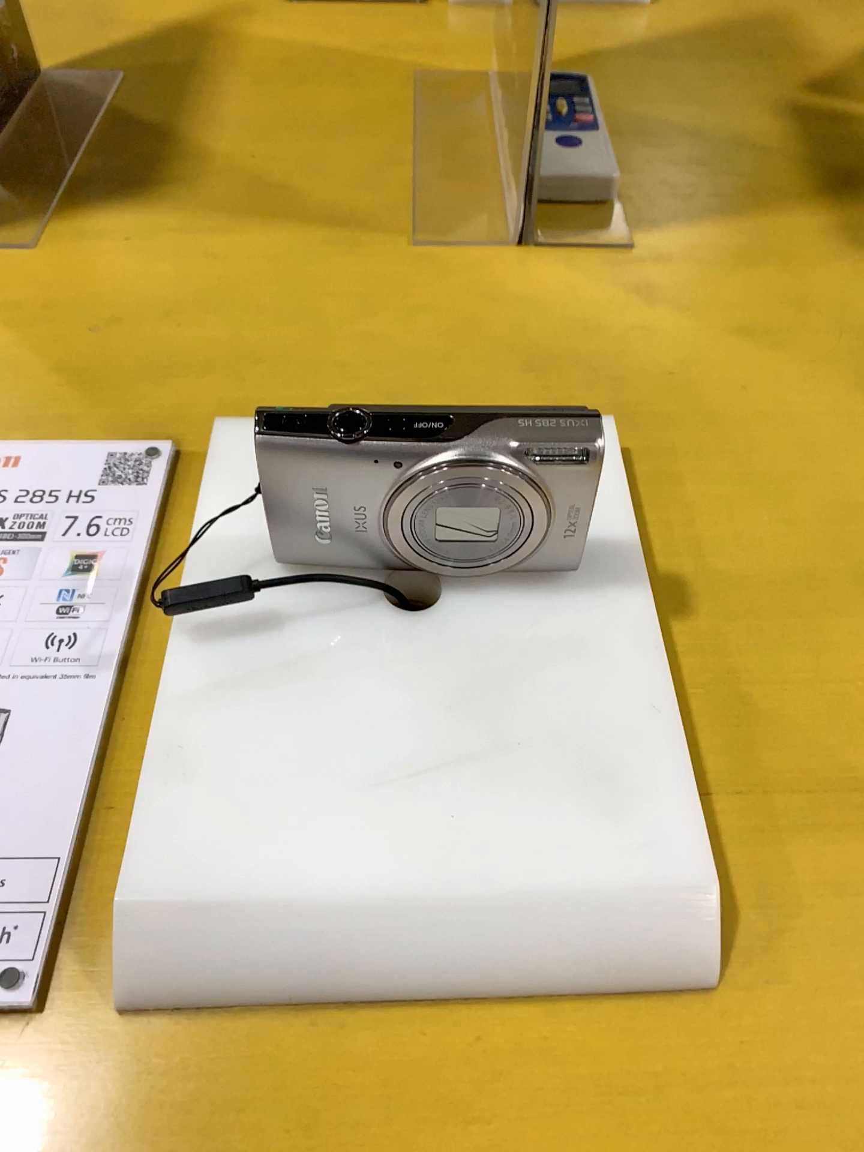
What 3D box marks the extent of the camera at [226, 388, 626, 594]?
[{"bbox_3d":[-0.001,-0.023,0.252,0.100,0.050,0.030,1,50,0],"label":"camera"}]
